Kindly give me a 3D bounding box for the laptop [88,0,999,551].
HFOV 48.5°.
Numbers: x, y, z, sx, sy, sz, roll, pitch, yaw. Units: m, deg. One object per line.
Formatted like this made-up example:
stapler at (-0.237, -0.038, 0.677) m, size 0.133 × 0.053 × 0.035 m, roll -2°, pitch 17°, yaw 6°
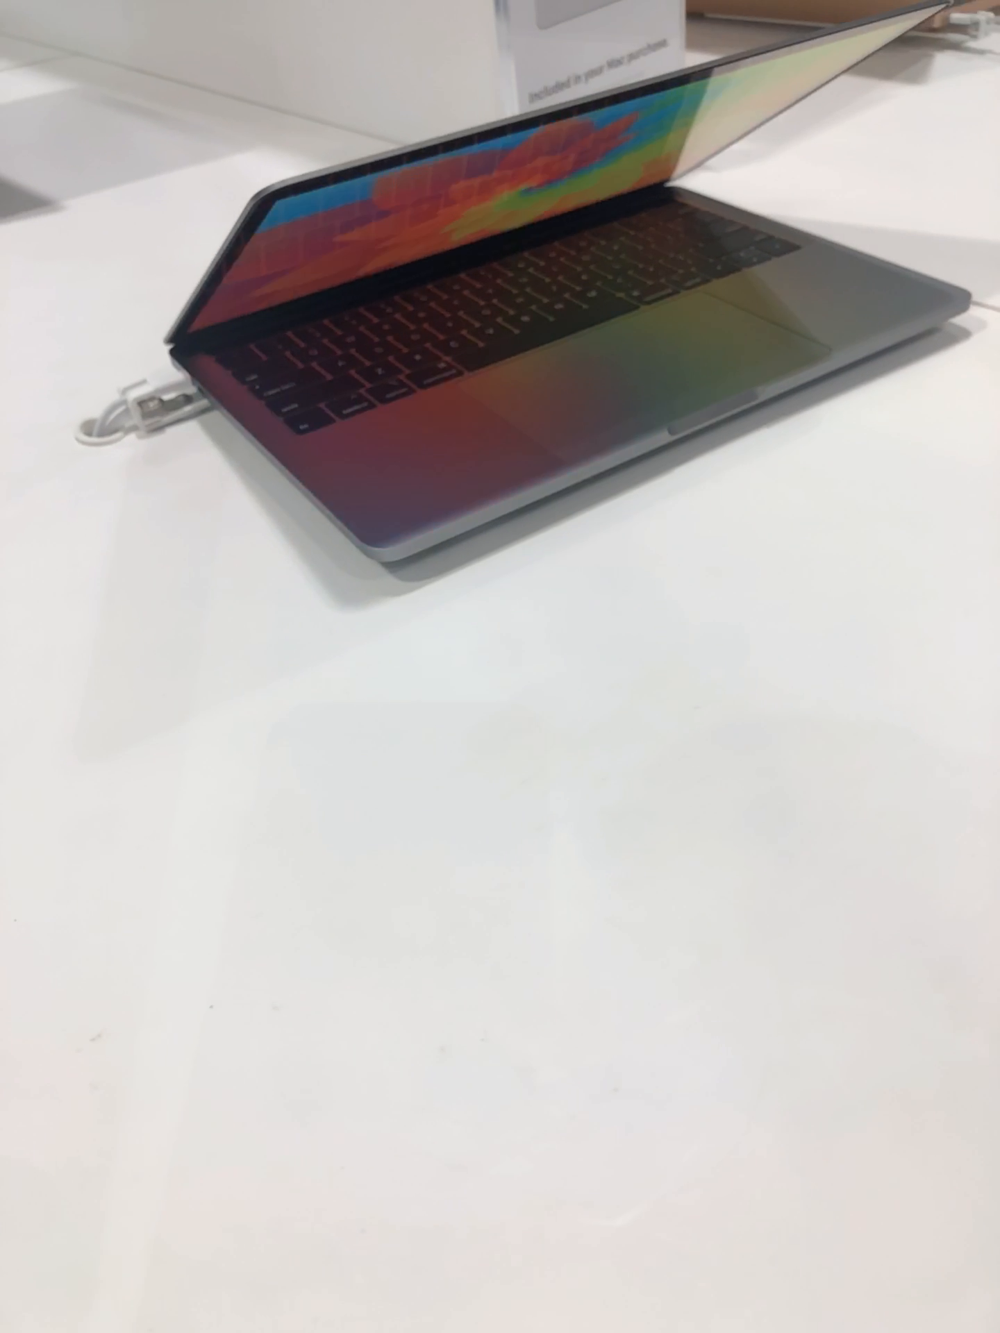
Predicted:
laptop at (0.022, -0.195, 0.460) m, size 0.297 × 0.109 × 0.211 m, roll -26°, pitch 44°, yaw -22°
